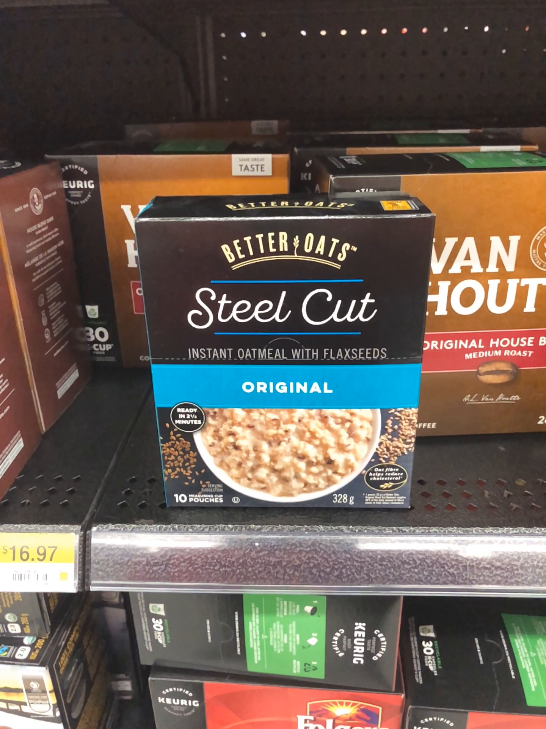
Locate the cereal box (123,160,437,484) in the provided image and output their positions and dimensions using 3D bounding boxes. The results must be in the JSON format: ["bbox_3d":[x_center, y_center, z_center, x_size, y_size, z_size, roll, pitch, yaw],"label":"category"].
[{"bbox_3d":[0.004,-0.022,0.358,0.150,0.179,0.060,0,27,1],"label":"cereal box"}]
